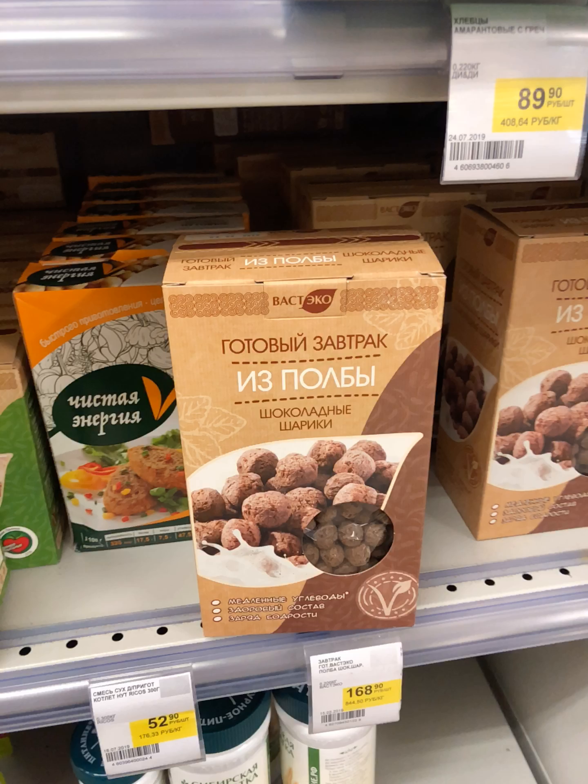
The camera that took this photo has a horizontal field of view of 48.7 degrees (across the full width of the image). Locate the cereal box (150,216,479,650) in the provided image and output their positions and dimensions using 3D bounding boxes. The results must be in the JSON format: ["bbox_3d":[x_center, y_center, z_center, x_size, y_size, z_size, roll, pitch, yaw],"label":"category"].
[{"bbox_3d":[0.007,0.024,0.339,0.130,0.209,0.080,-2,27,-2],"label":"cereal box"}]
